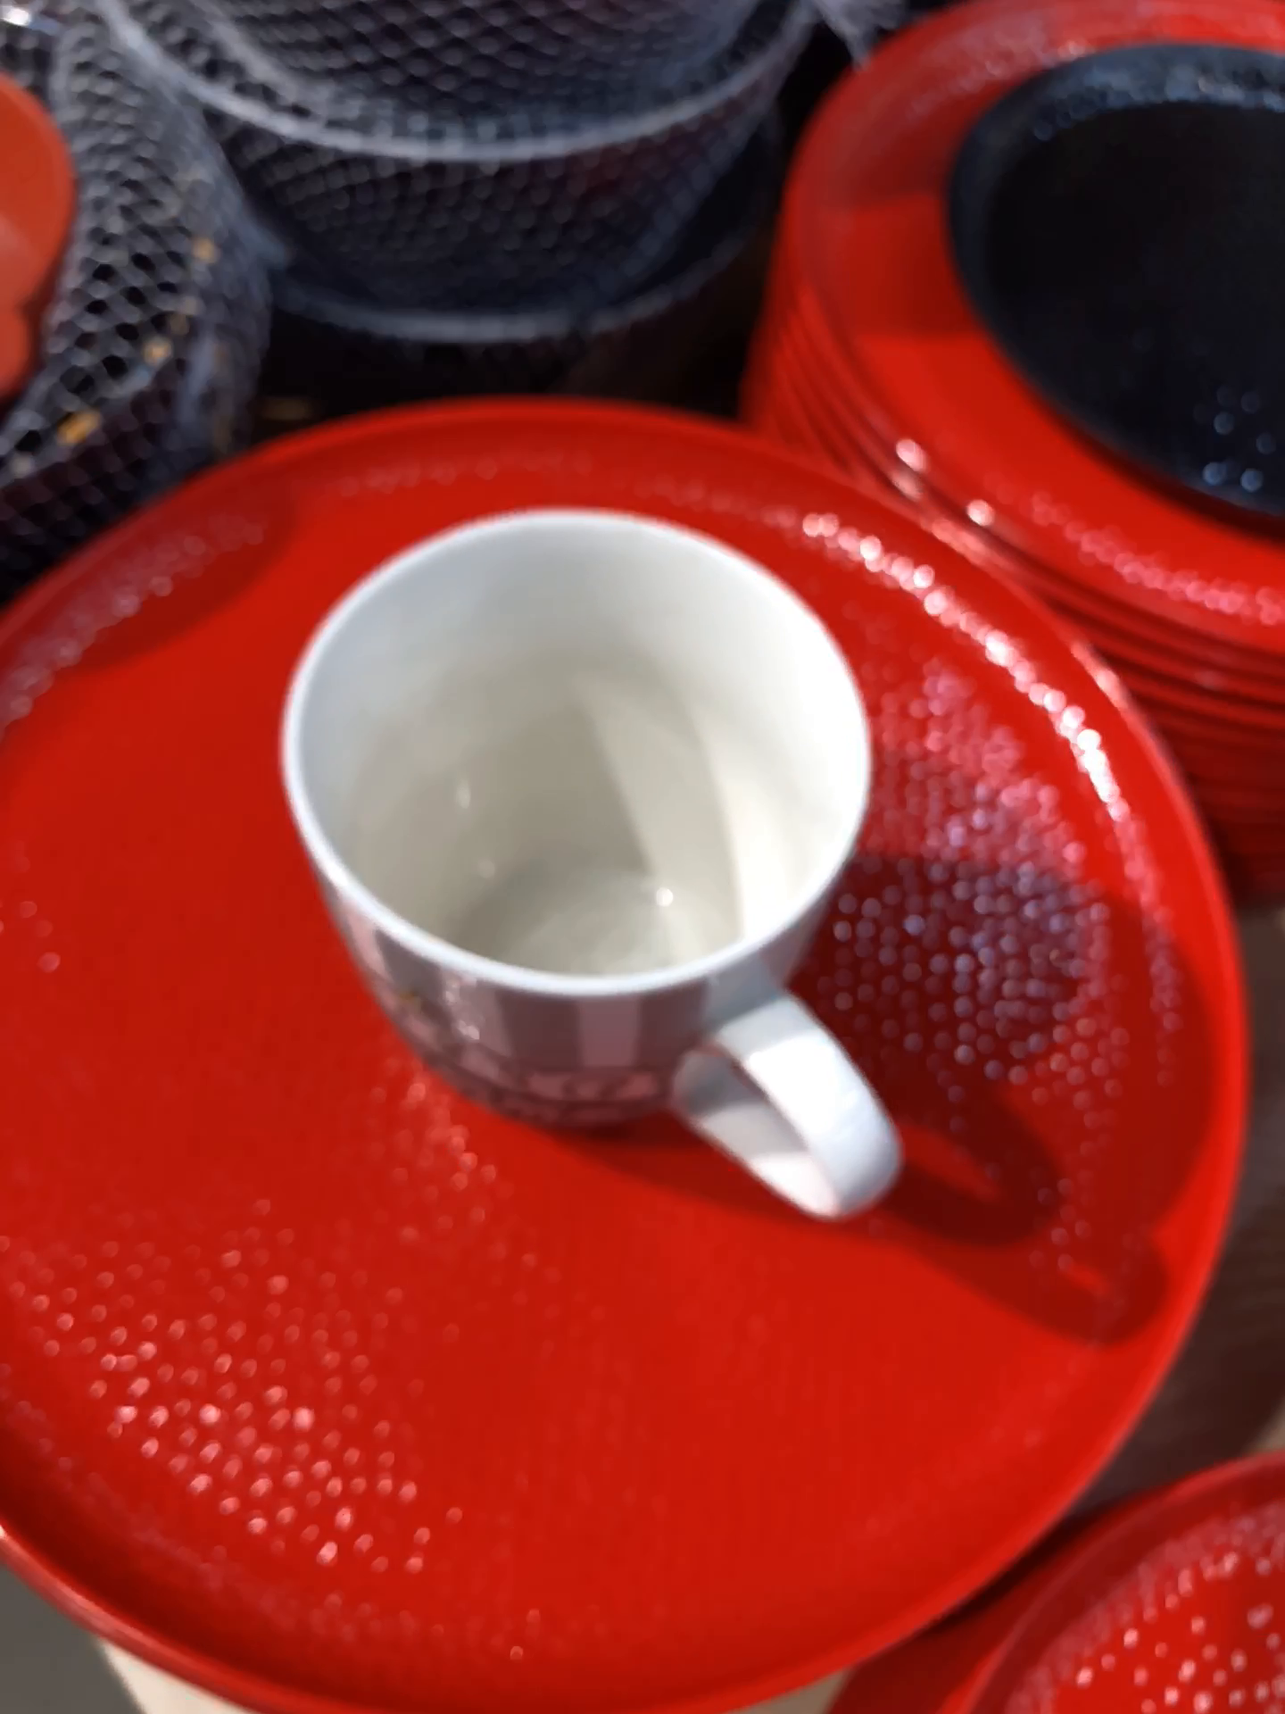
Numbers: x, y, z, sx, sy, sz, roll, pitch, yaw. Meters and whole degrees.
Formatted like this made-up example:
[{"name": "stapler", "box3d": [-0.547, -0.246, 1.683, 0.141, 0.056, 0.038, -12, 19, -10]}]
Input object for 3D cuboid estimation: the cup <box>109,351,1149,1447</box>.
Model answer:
[{"name": "cup", "box3d": [-0.008, 0.009, 0.234, 0.080, 0.100, 0.120, -31, 67, -20]}]
